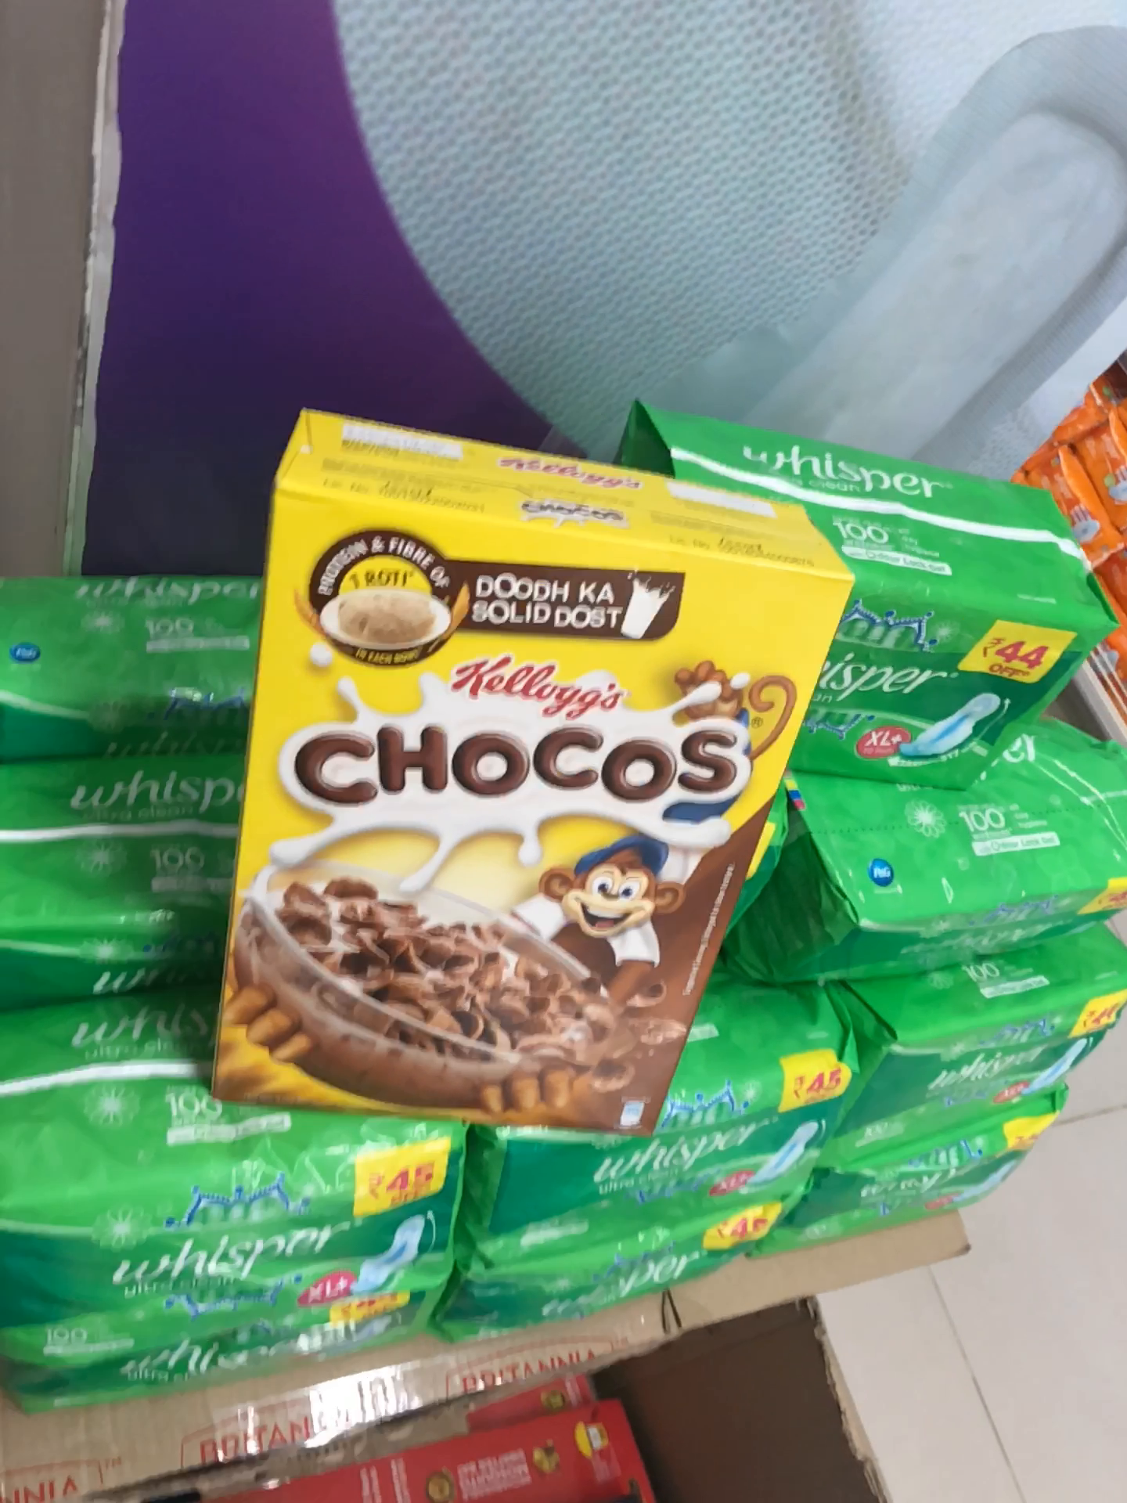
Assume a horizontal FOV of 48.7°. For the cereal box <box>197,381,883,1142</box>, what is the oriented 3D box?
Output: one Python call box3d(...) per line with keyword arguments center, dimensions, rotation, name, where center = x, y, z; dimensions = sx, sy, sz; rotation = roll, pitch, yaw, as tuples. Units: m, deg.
box3d(center=(-0.025, 0.019, 0.467), dimensions=(0.190, 0.260, 0.080), rotation=(8, 30, -11), name="cereal box")
